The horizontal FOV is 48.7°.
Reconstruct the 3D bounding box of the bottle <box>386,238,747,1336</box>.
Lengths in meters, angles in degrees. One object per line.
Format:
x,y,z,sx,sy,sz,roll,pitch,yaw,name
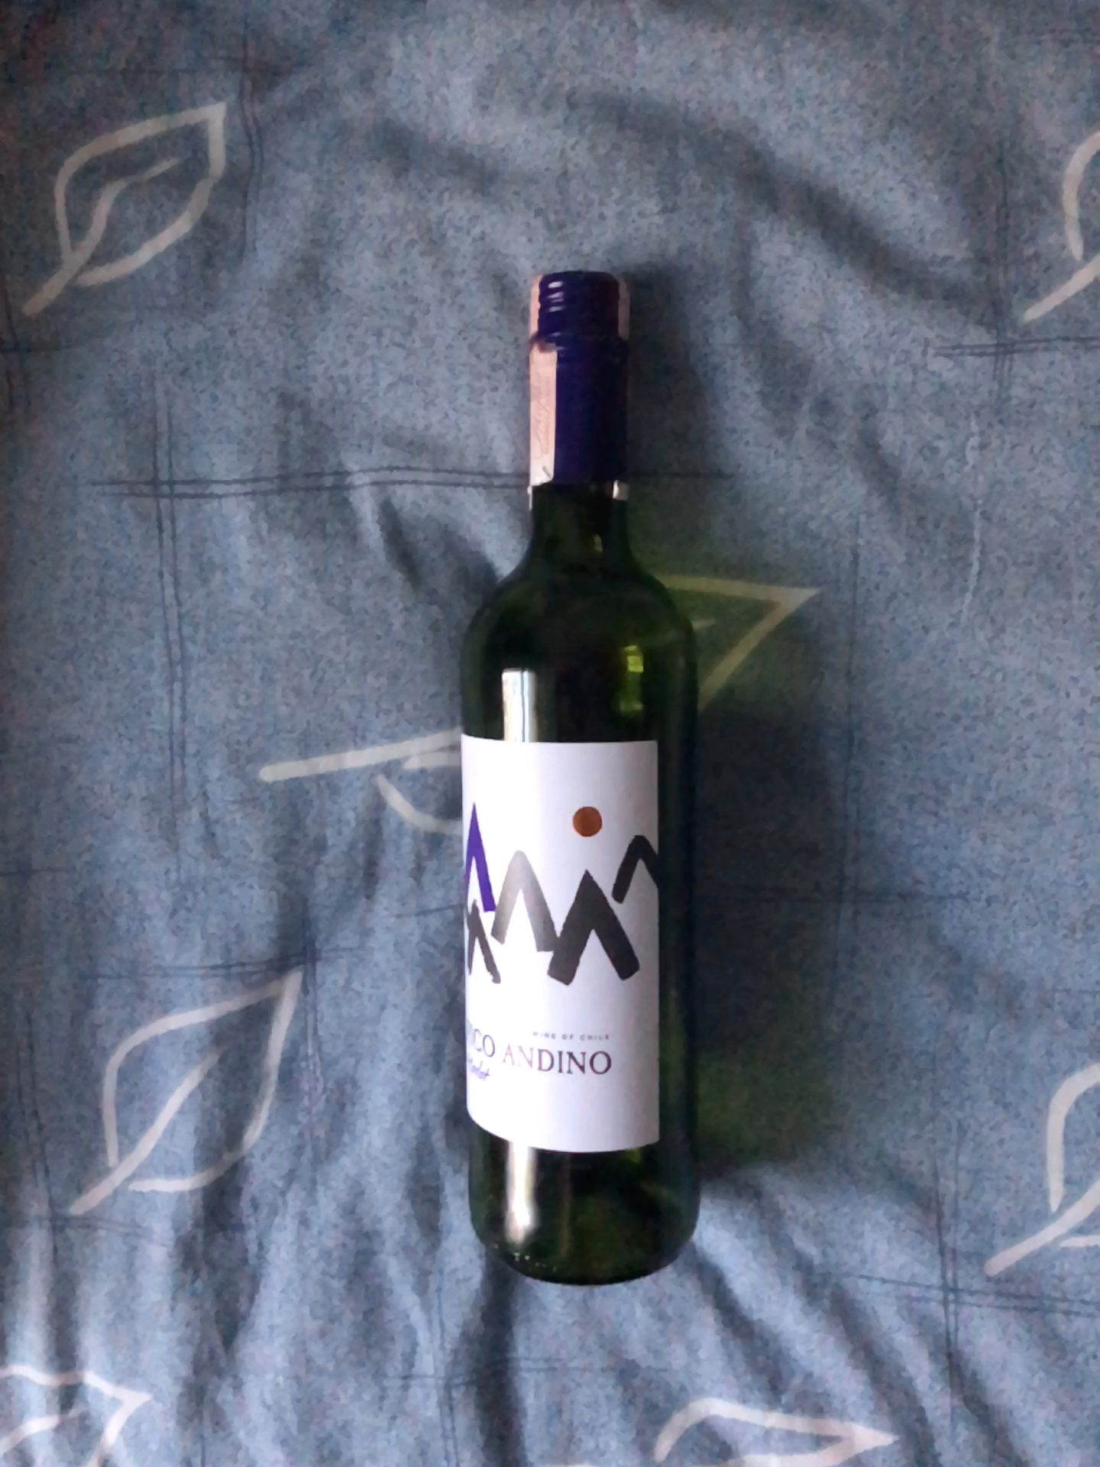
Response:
0.009,0.016,0.372,0.080,0.080,0.290,2,96,26,bottle
